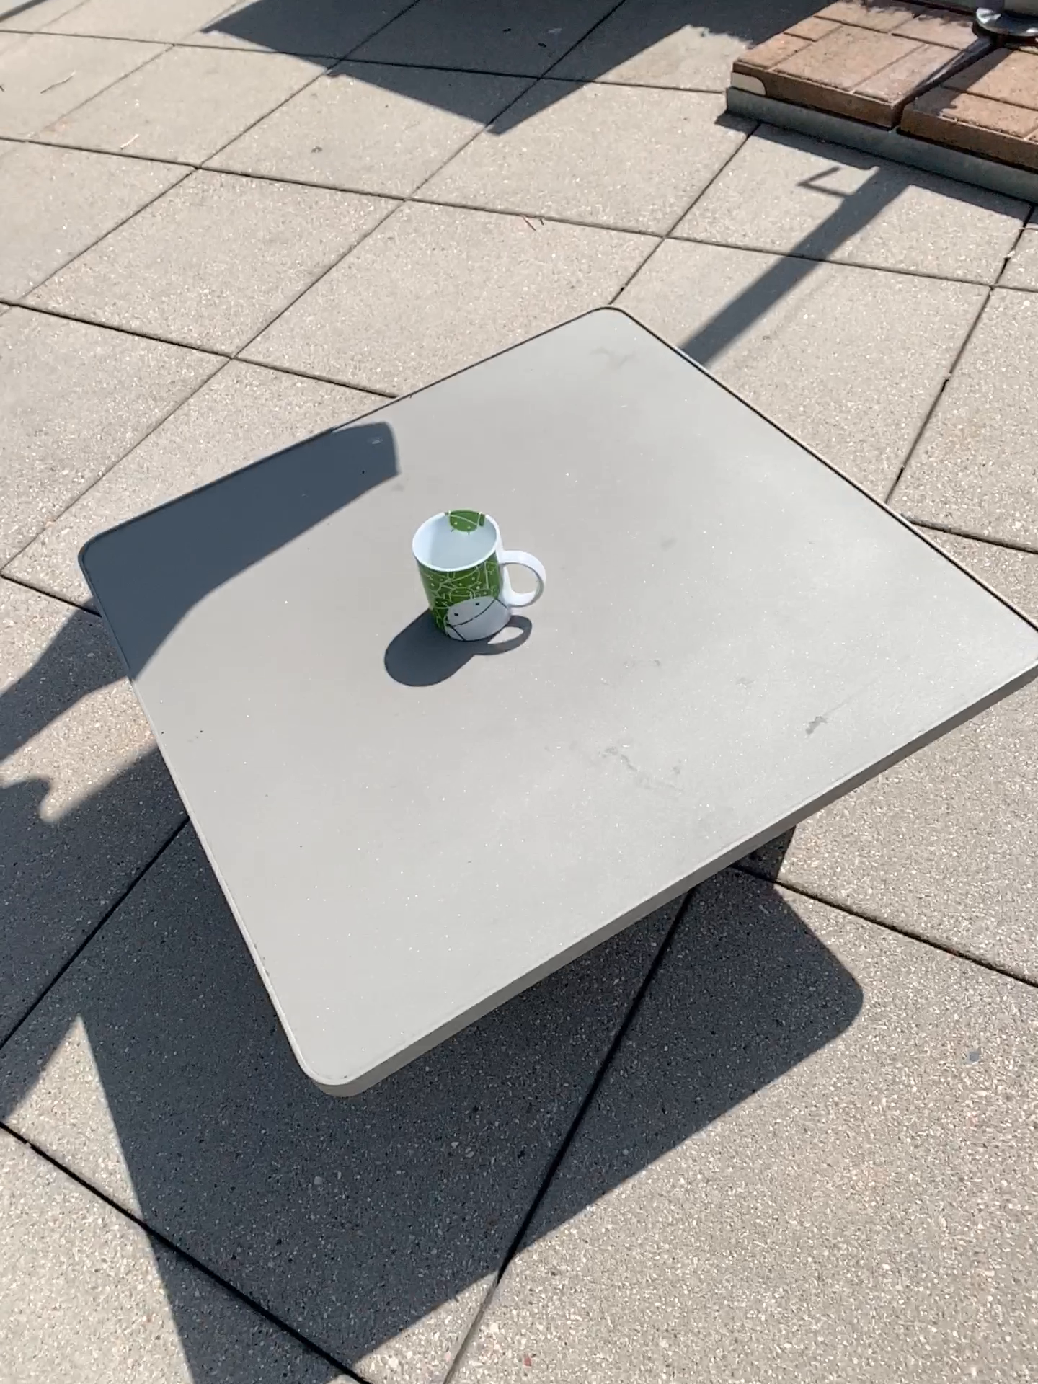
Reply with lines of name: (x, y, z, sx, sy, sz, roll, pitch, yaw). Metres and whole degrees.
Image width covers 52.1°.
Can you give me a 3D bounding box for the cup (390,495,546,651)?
cup: (-0.041, -0.105, 0.943, 0.120, 0.090, 0.090, -4, 50, 7)
